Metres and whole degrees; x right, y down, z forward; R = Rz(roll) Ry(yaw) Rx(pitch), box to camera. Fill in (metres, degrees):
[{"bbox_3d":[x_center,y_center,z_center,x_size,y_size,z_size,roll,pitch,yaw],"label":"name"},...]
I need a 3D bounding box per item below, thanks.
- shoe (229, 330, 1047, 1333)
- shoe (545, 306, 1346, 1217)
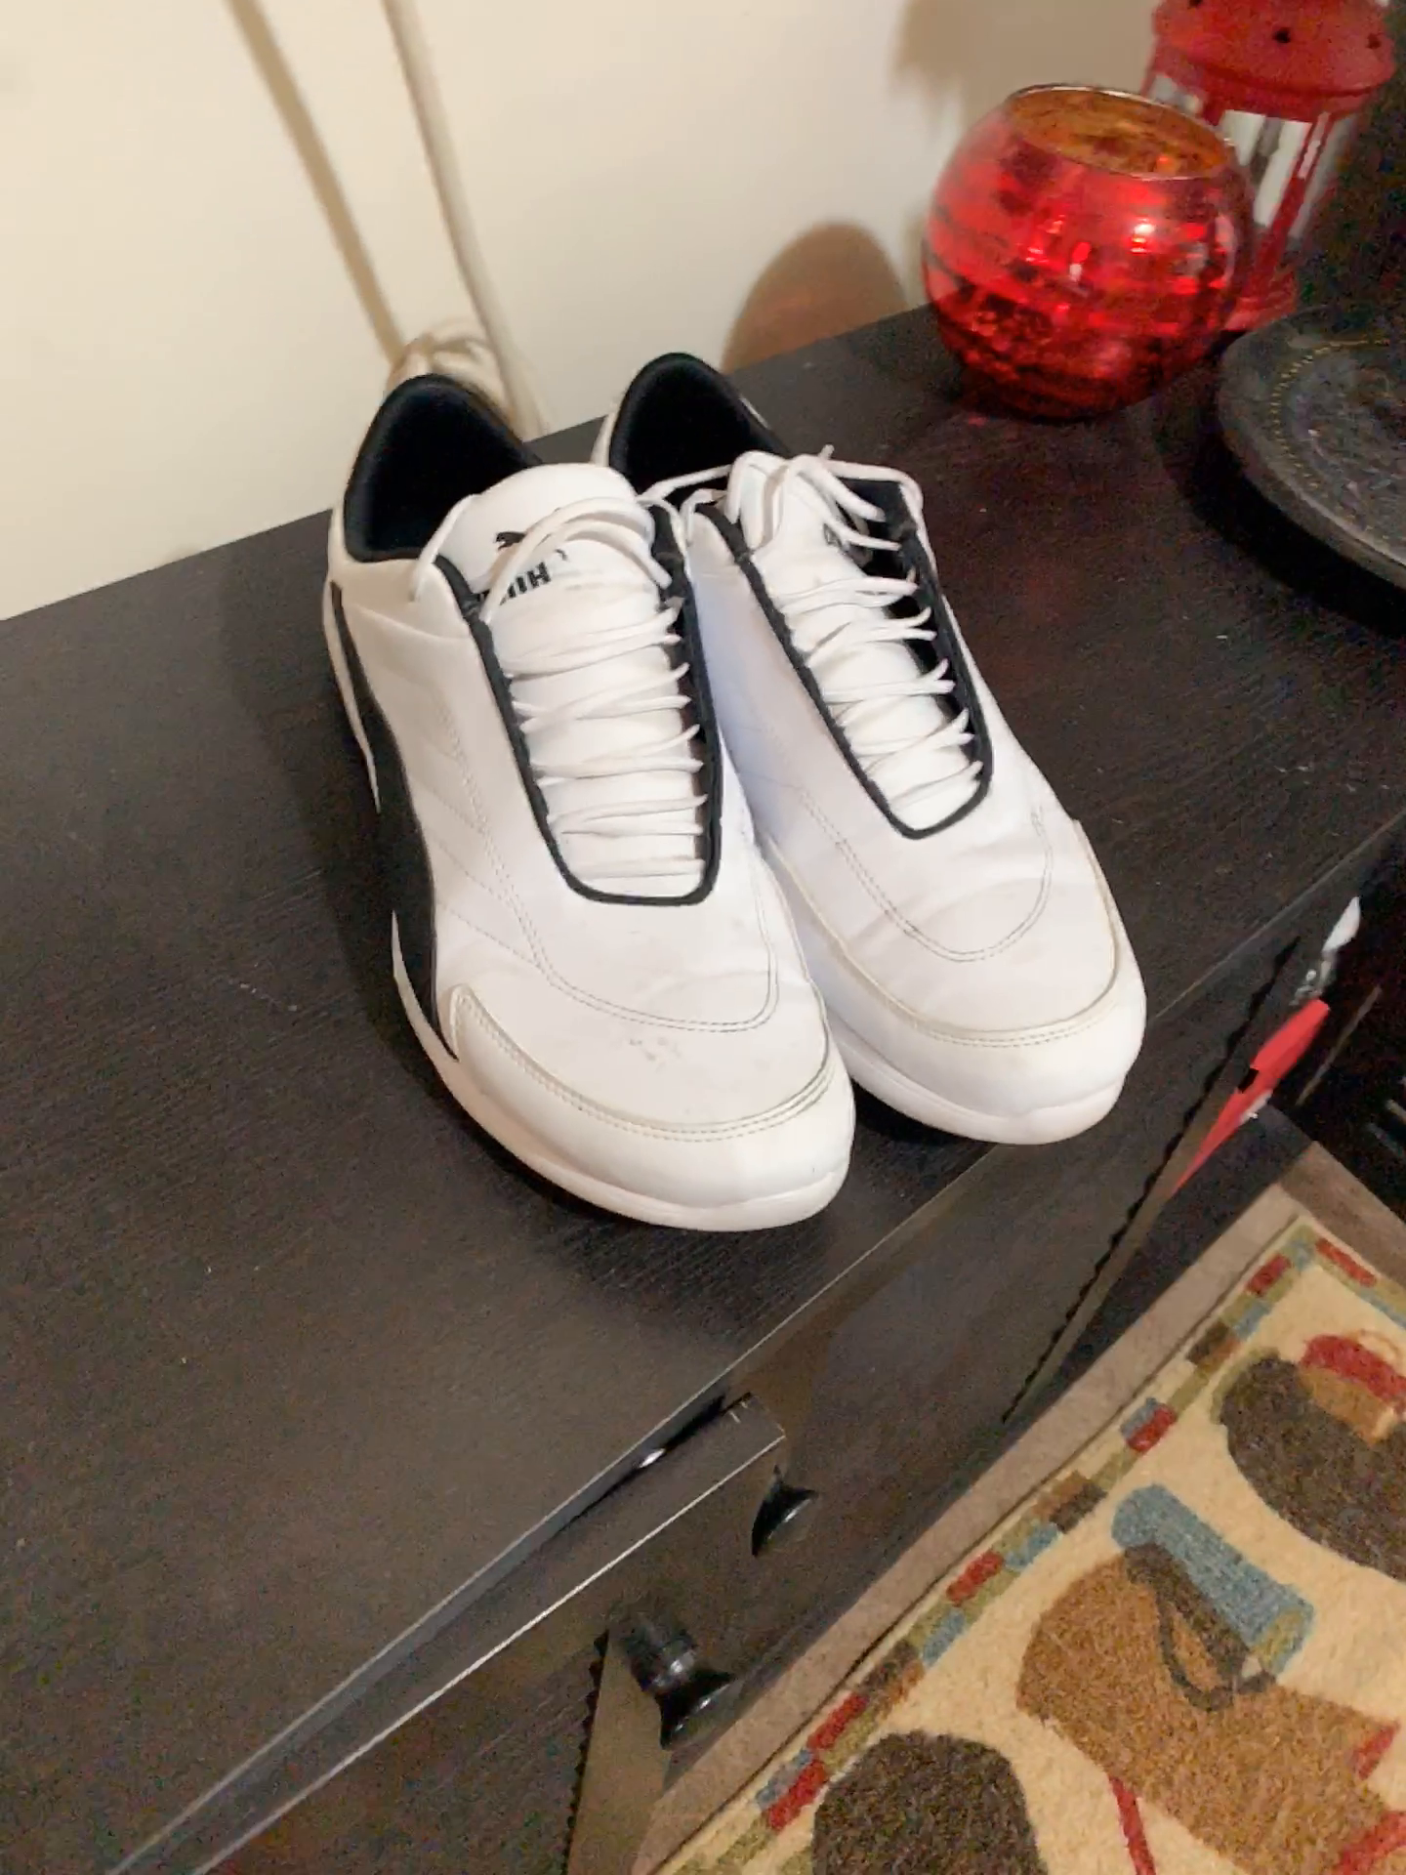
[{"bbox_3d":[-0.039,-0.052,0.410,0.120,0.089,0.282,-14,55,-20],"label":"shoe"},{"bbox_3d":[0.048,-0.074,0.447,0.100,0.089,0.292,-14,55,-20],"label":"shoe"}]
